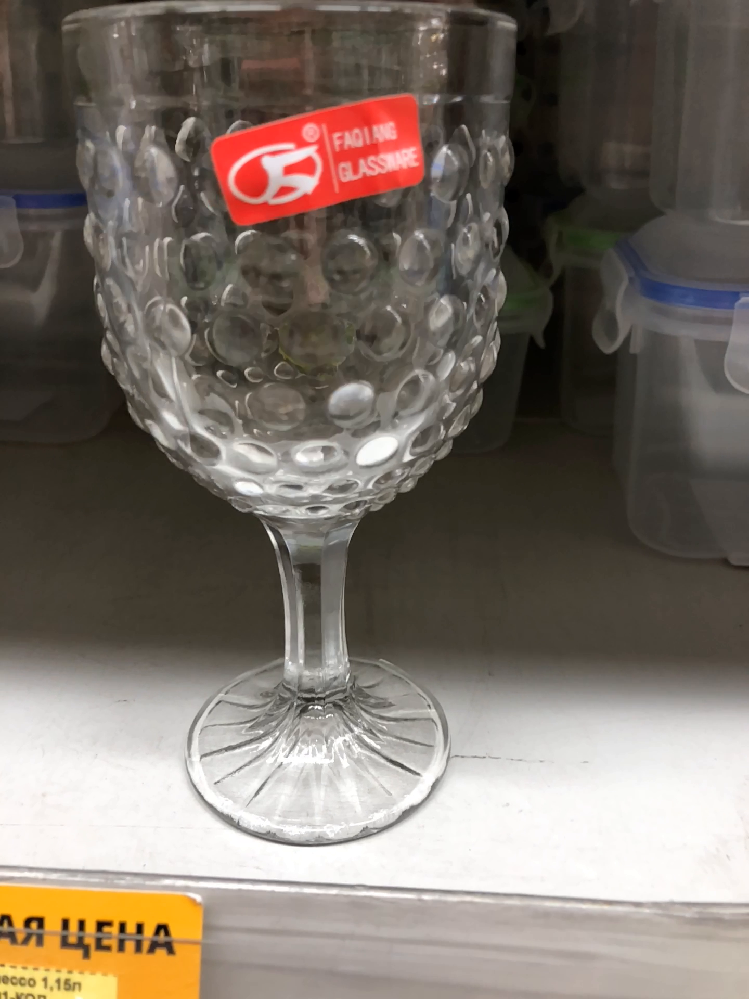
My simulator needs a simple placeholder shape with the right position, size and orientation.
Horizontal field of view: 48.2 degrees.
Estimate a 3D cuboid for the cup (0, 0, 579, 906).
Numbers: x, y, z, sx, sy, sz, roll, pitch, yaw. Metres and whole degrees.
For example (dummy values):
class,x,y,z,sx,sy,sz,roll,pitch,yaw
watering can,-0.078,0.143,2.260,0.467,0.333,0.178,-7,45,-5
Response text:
class,x,y,z,sx,sy,sz,roll,pitch,yaw
cup,-0.014,-0.011,0.176,0.081,0.160,0.087,0,24,0
